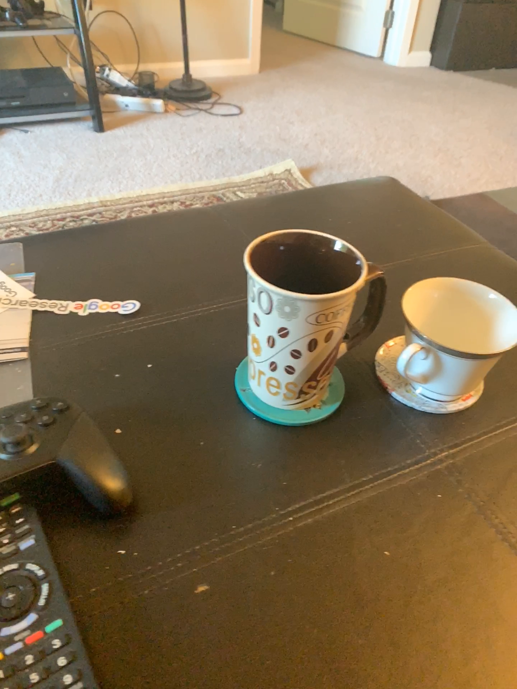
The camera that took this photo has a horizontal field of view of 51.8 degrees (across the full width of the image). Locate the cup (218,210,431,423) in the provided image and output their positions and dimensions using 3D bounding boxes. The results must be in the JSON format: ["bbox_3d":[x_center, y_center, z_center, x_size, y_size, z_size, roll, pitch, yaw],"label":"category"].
[{"bbox_3d":[0.041,-0.023,0.396,0.120,0.109,0.080,-14,43,-19],"label":"cup"}]

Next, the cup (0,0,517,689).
[{"bbox_3d":[0.041,-0.023,0.396,39.273,9.444,0.298,-14,43,-19],"label":"cup"}]

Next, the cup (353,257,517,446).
[{"bbox_3d":[0.147,0.000,0.400,0.110,0.070,0.090,-23,47,-28],"label":"cup"}]

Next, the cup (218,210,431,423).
[{"bbox_3d":[0.041,-0.023,0.396,0.120,0.109,0.080,-14,43,-19],"label":"cup"}]
